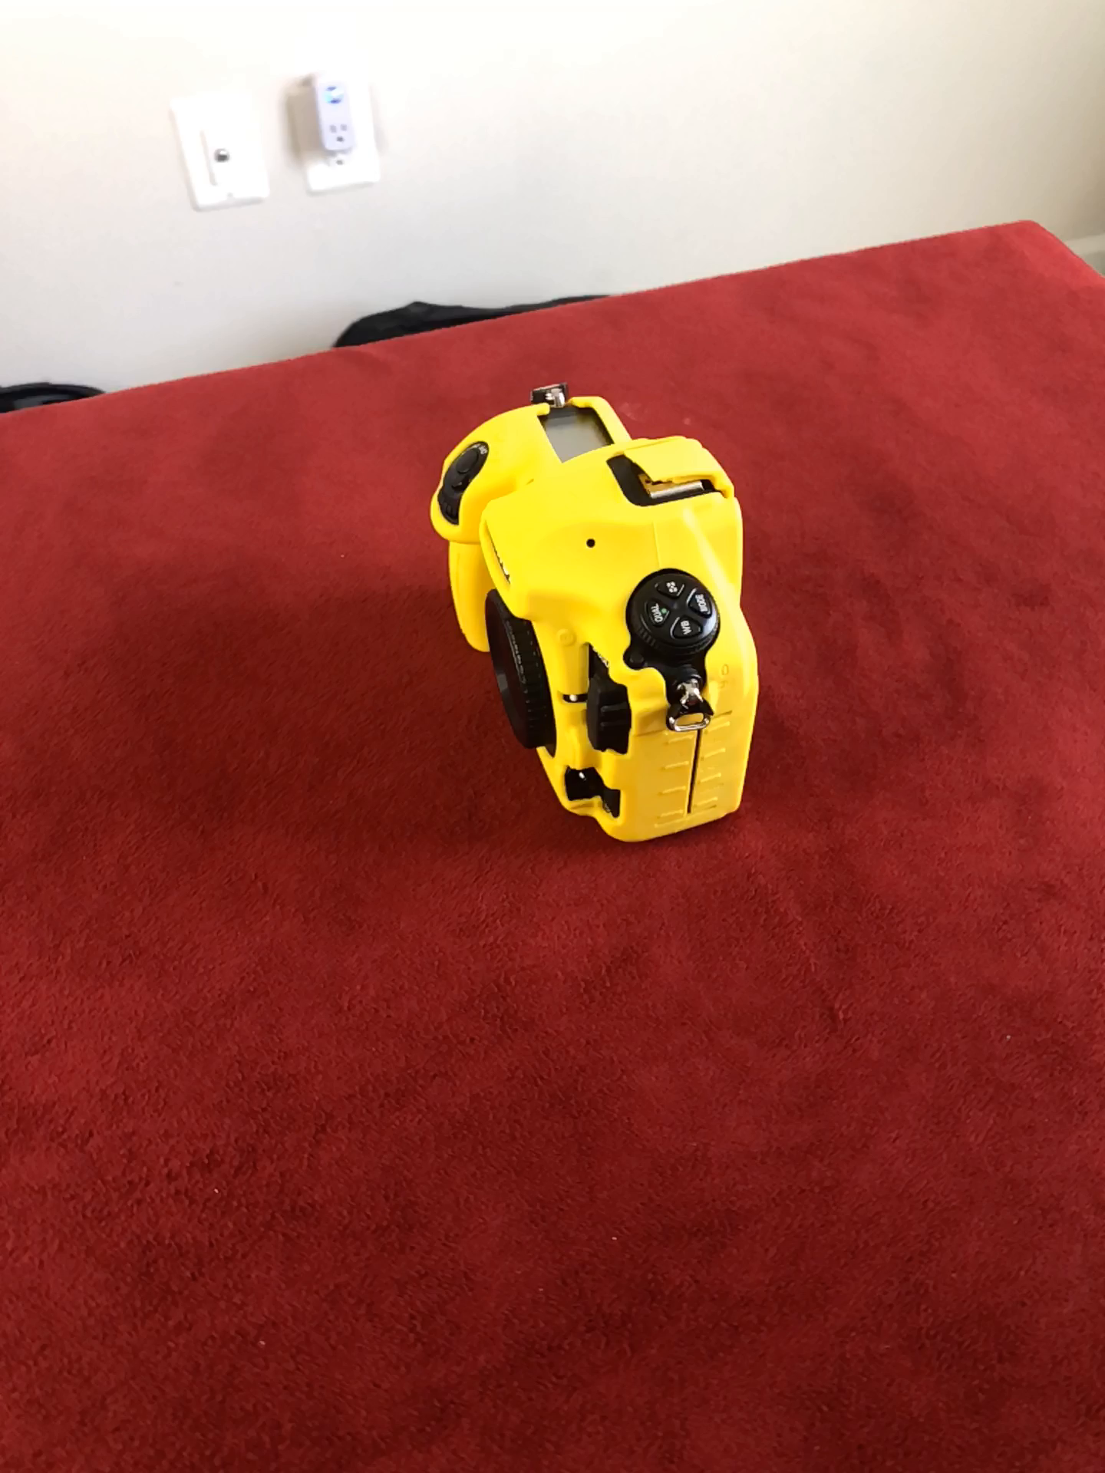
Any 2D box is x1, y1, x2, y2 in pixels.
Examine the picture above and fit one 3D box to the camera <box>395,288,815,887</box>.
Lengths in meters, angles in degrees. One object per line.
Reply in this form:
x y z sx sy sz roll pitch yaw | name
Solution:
0.010 -0.055 0.428 0.082 0.116 0.161 -15 51 -11 | camera
